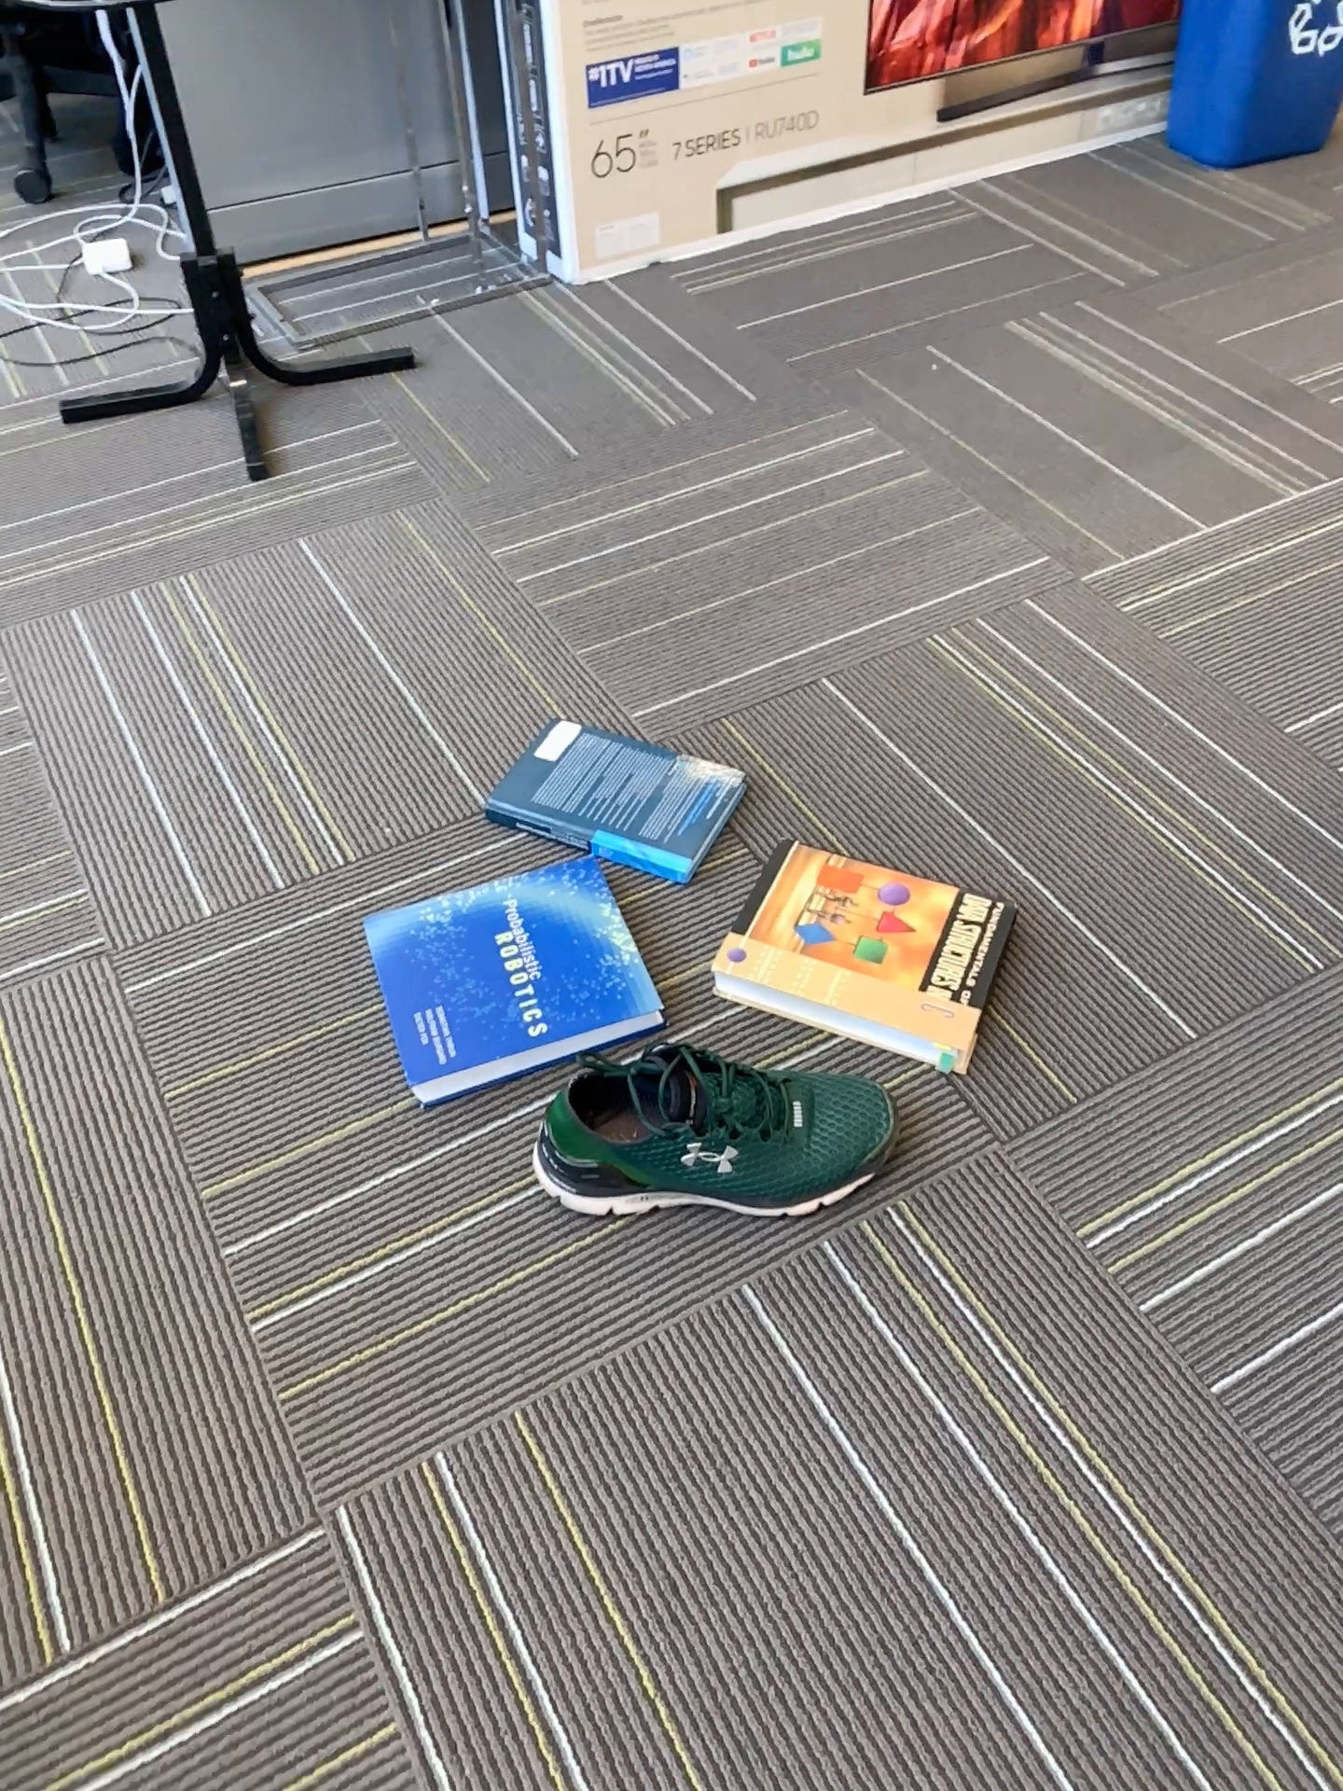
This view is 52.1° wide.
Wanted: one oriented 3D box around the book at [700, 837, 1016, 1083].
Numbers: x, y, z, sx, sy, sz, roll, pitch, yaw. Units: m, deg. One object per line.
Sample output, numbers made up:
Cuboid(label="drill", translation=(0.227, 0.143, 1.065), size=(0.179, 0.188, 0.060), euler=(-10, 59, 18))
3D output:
Cuboid(label="book", translation=(0.174, 0.053, 1.270), size=(0.242, 0.040, 0.185), euler=(17, 50, 17))

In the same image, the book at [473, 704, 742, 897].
Cuboid(label="book", translation=(-0.070, -0.111, 1.538), size=(0.247, 0.040, 0.177), euler=(20, 51, 15))

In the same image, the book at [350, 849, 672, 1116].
Cuboid(label="book", translation=(-0.149, 0.072, 1.253), size=(0.242, 0.040, 0.205), euler=(-17, 49, -13))
